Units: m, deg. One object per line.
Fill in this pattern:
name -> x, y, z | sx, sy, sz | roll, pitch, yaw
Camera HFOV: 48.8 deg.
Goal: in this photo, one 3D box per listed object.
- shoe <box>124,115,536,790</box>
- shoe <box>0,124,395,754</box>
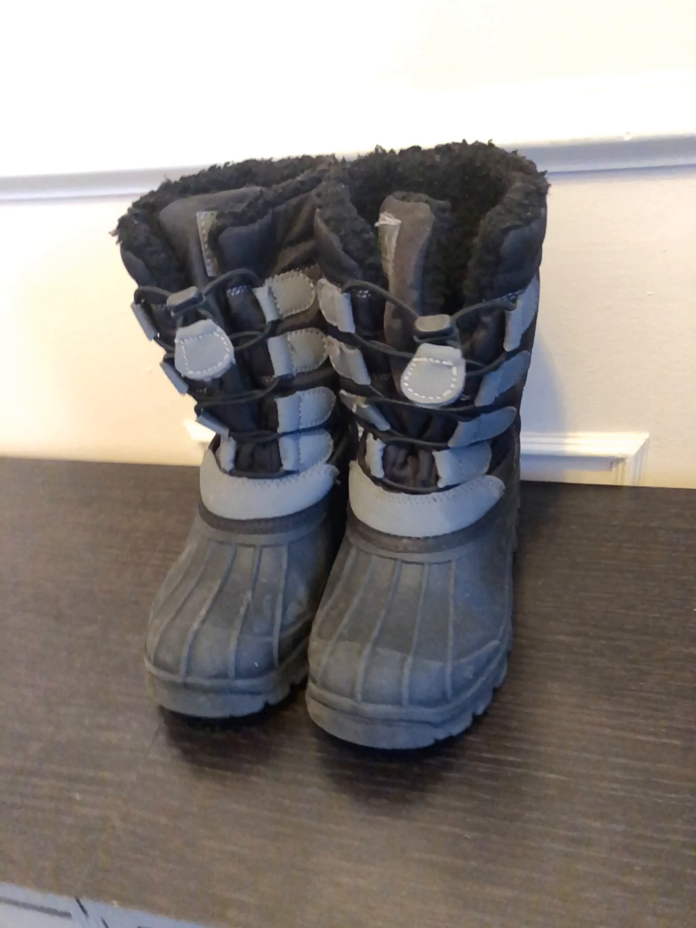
shoe -> 0.024, -0.020, 0.352 | 0.100, 0.209, 0.221 | 4, 36, 16
shoe -> -0.058, -0.026, 0.375 | 0.100, 0.209, 0.221 | 4, 36, 16
